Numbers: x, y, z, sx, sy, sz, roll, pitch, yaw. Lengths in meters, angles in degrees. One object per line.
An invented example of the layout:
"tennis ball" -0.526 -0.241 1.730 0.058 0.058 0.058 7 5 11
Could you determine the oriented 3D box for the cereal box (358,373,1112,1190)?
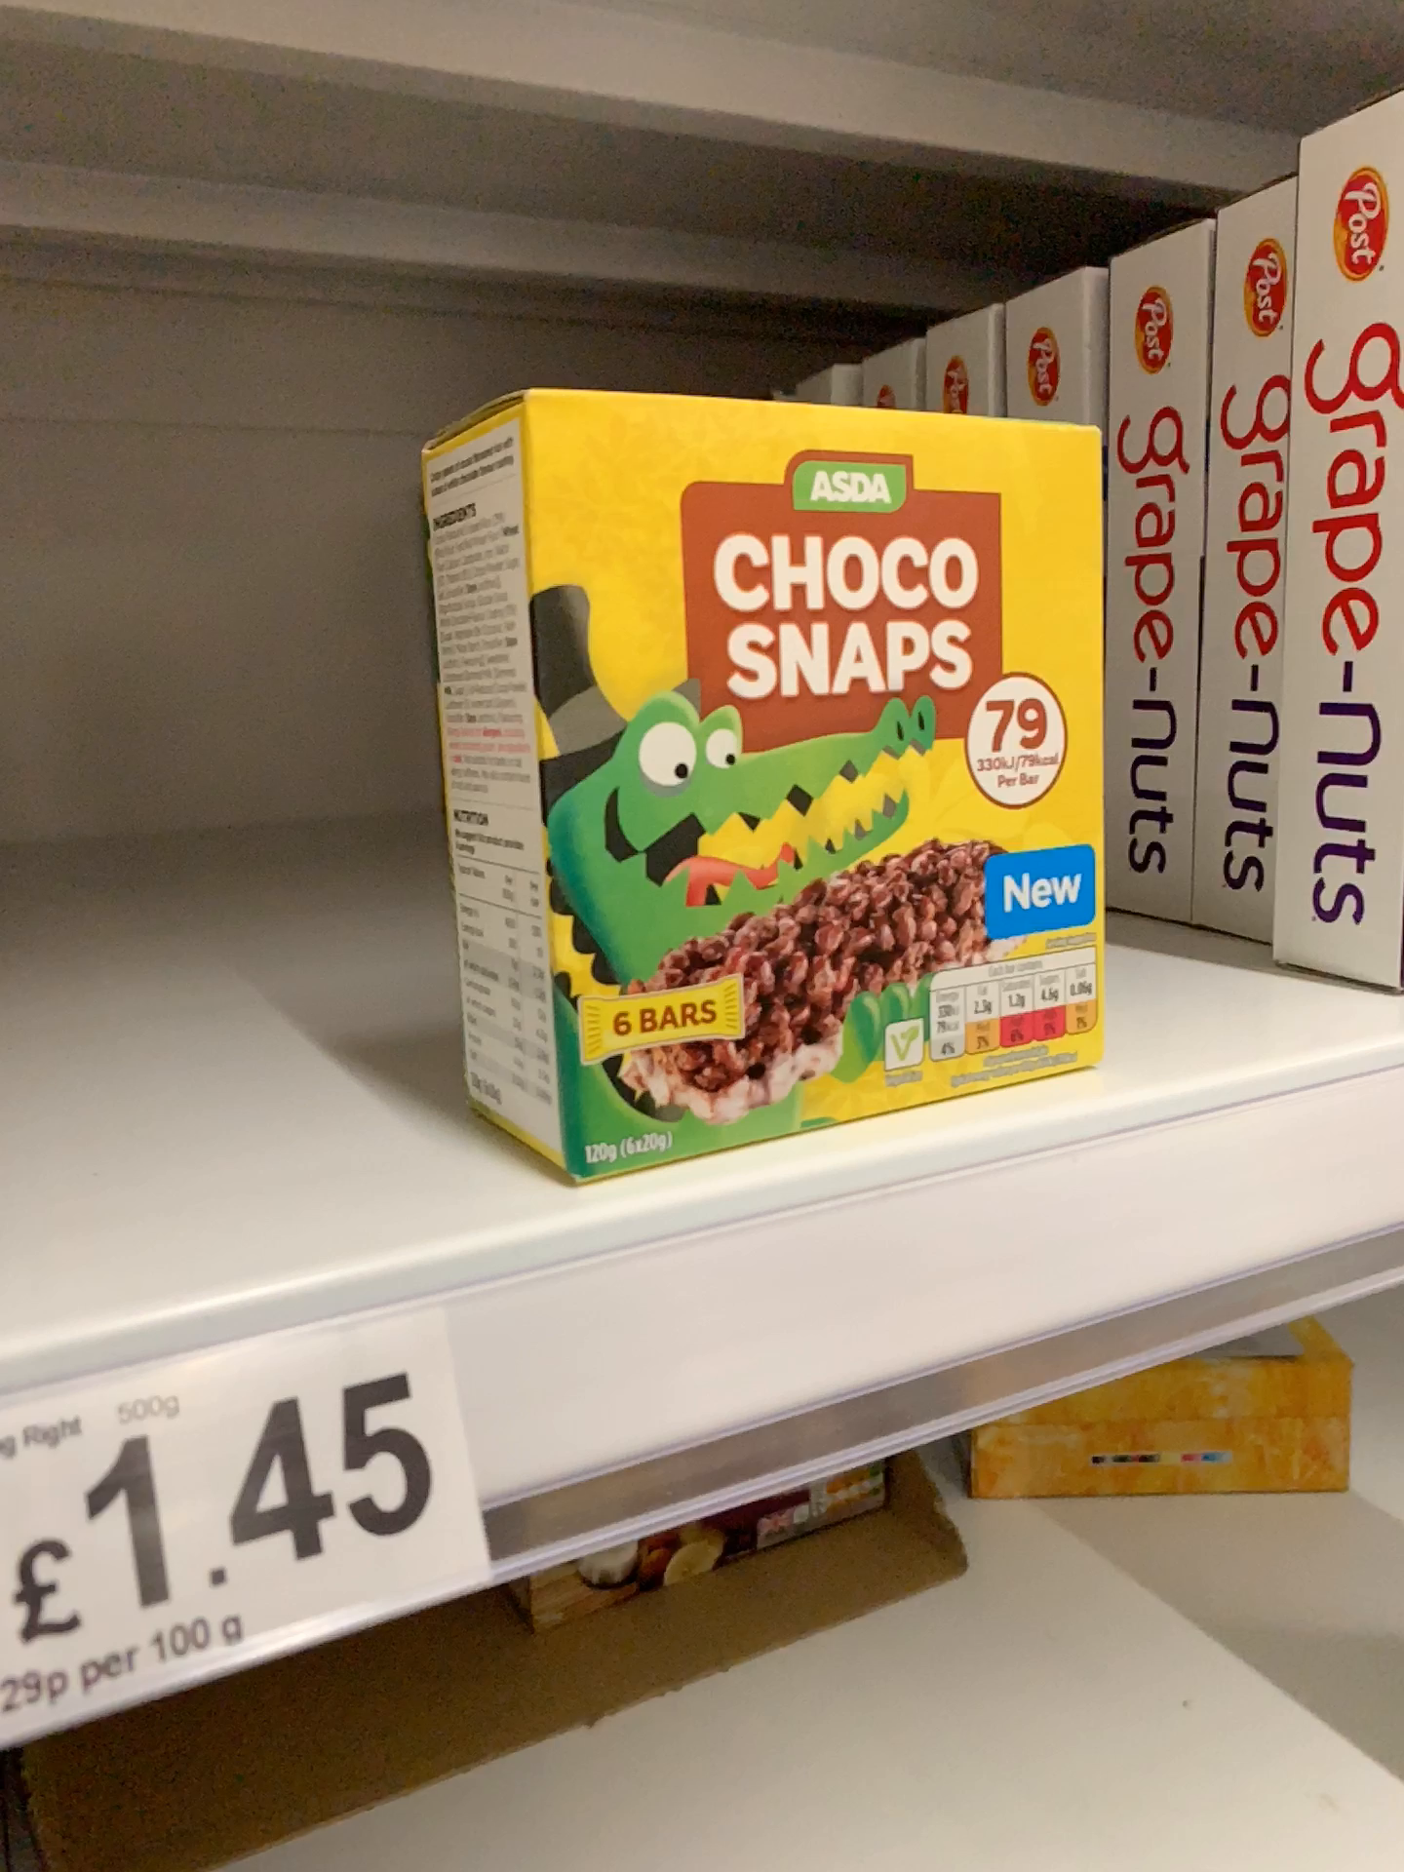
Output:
"cereal box" 0.010 -0.034 0.294 0.130 0.130 0.070 -8 11 -30
